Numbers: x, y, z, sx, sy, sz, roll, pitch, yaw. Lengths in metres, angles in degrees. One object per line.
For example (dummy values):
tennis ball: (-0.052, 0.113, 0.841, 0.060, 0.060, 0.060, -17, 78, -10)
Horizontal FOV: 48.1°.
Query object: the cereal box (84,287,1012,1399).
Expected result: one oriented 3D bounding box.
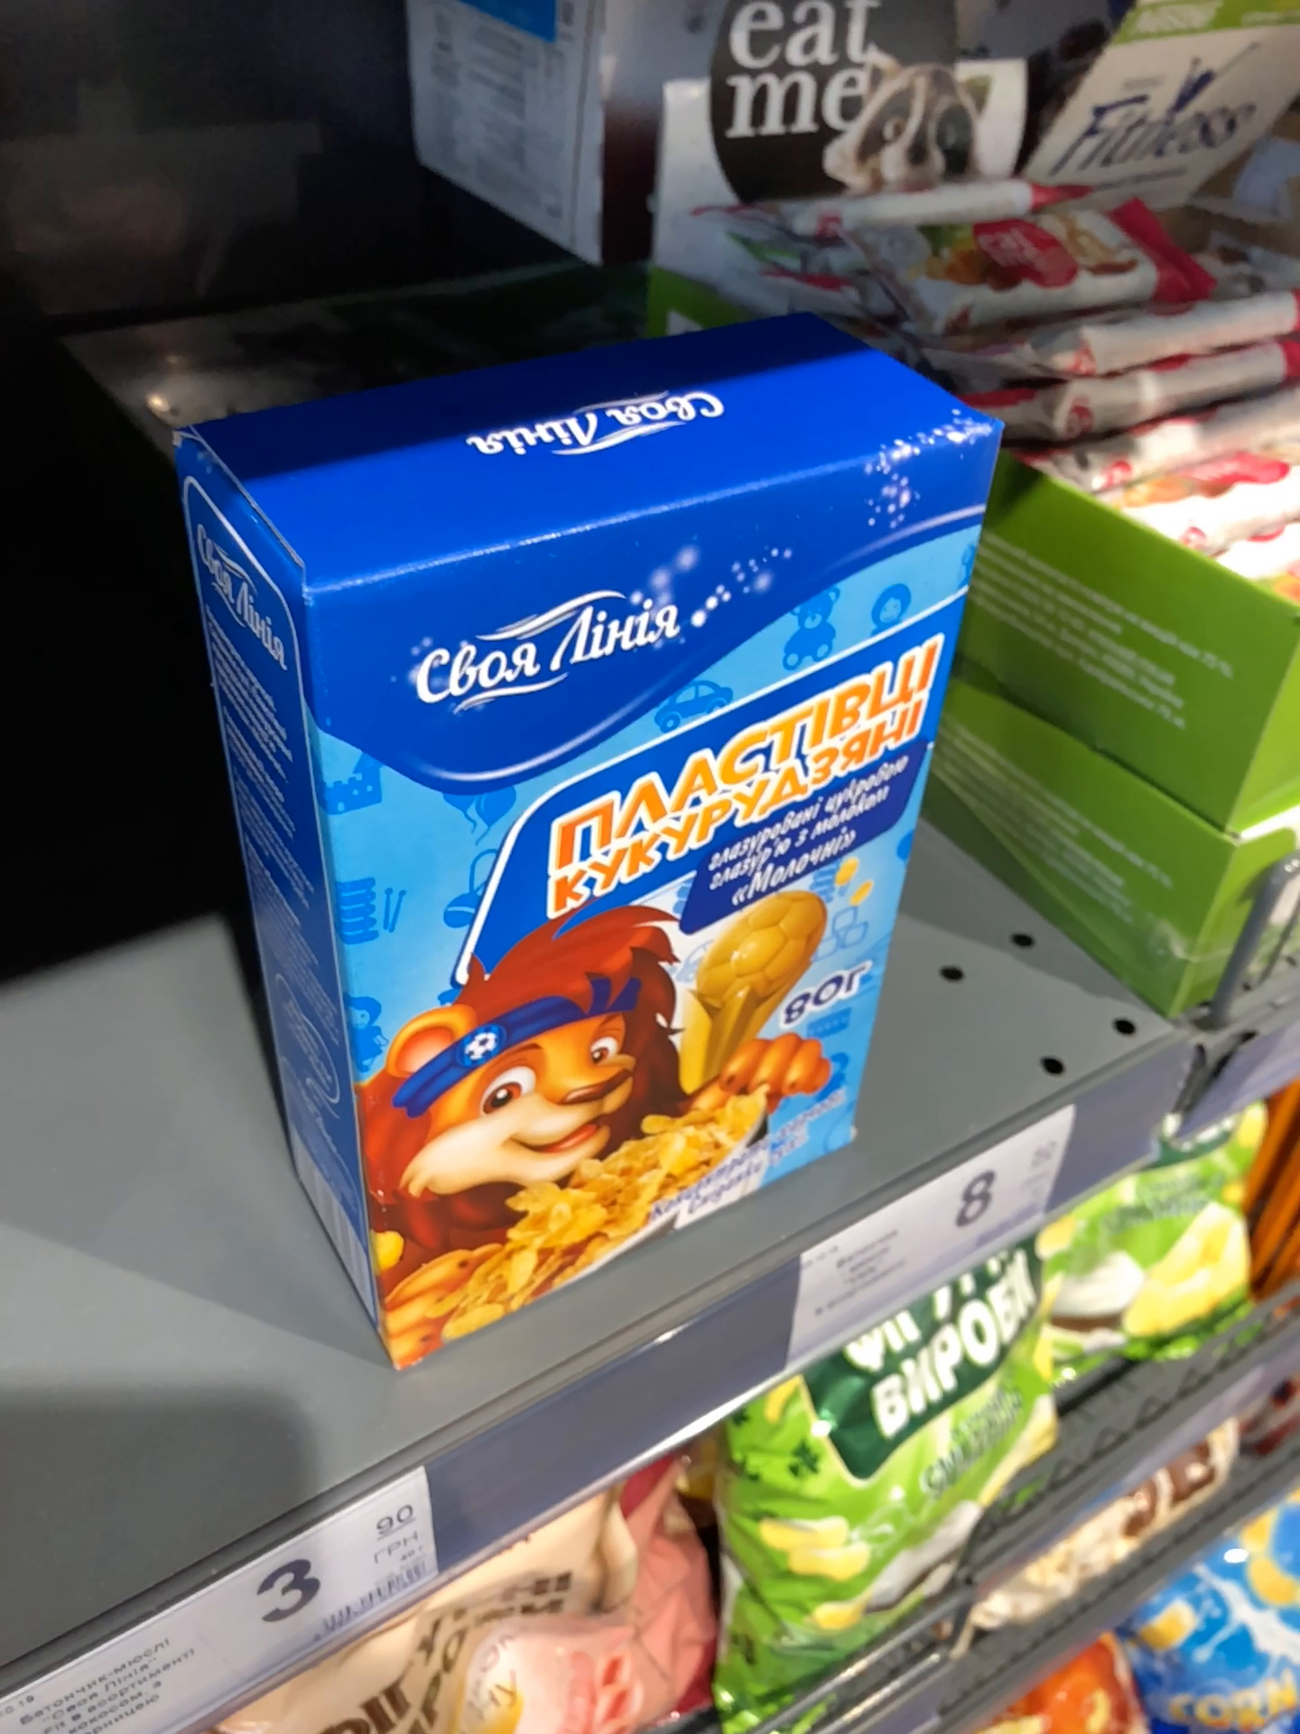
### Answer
cereal box: (-0.017, -0.002, 0.264, 0.120, 0.169, 0.060, -21, 46, -28)
